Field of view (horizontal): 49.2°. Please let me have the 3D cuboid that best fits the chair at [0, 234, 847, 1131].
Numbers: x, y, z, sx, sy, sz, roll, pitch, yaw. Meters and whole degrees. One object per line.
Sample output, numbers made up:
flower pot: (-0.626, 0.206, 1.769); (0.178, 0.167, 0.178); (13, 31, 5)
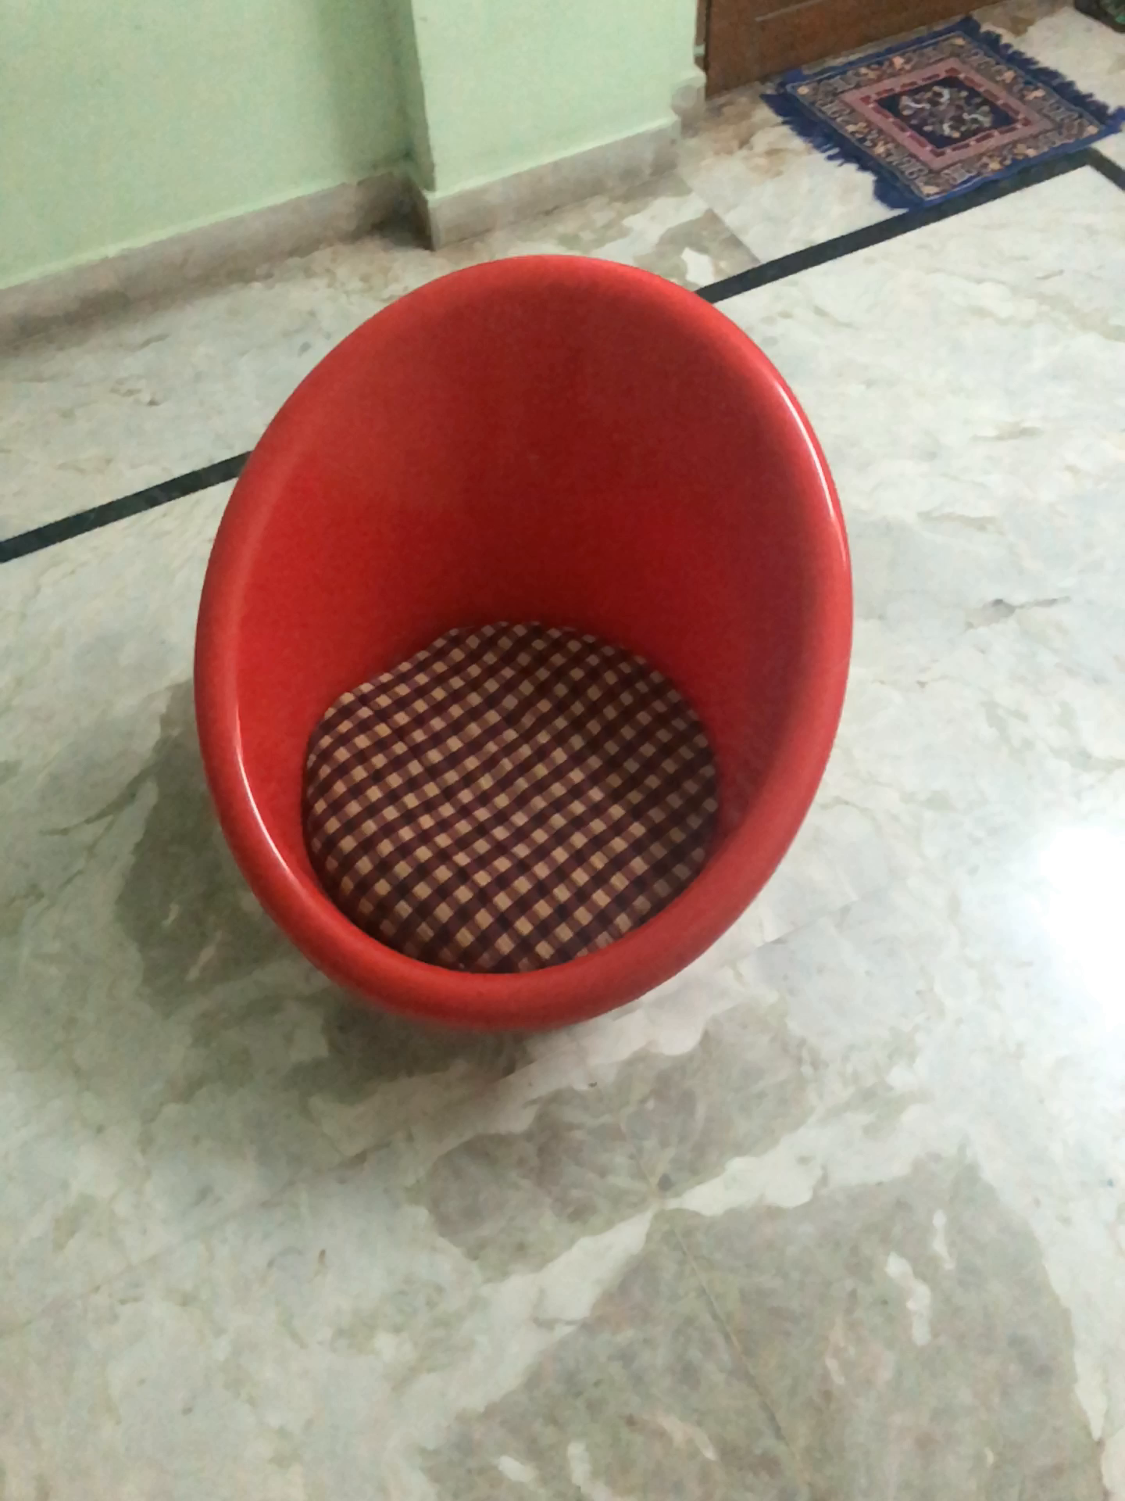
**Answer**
chair: (-0.057, -0.079, 1.297); (0.620, 0.507, 0.744); (5, 57, 5)
